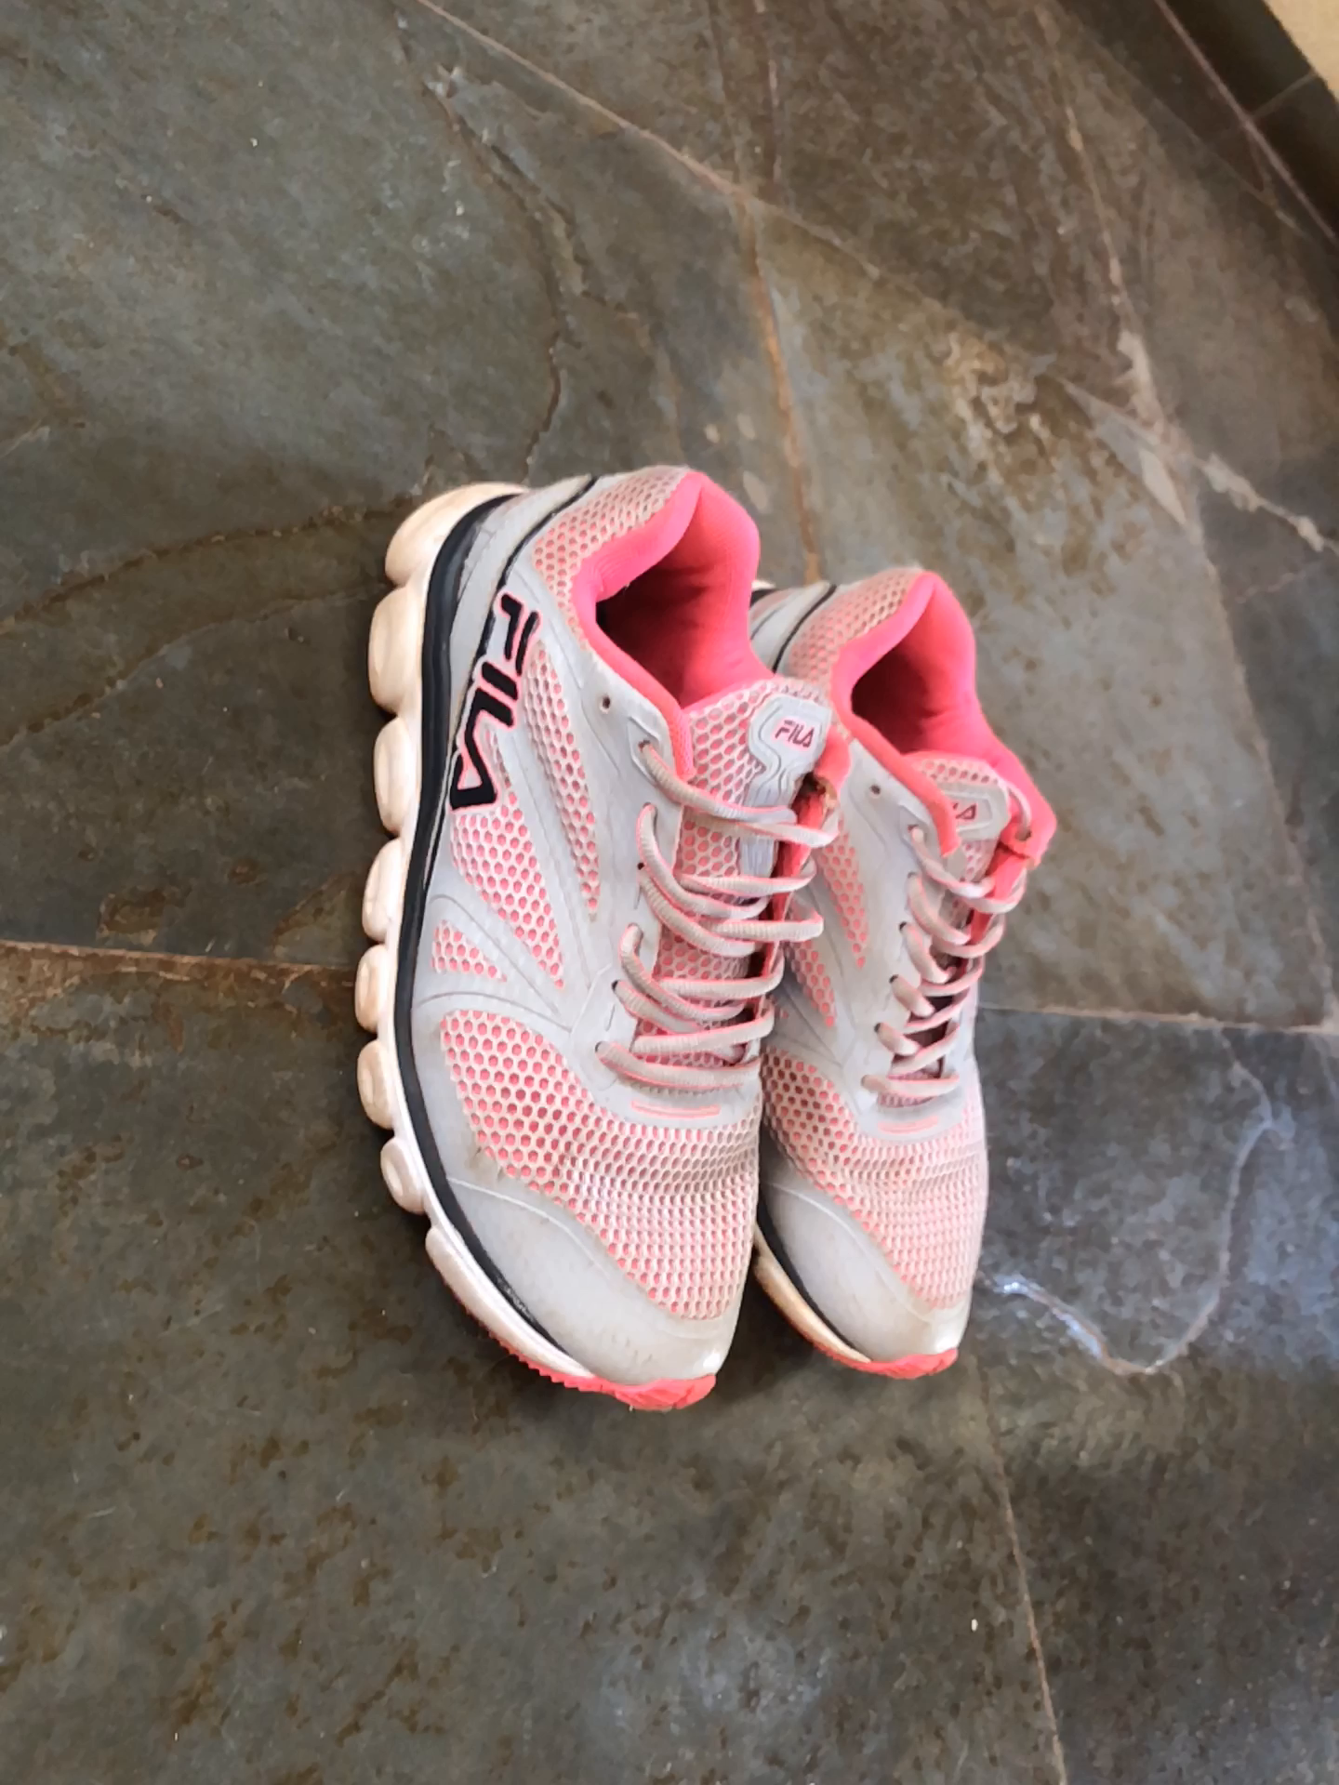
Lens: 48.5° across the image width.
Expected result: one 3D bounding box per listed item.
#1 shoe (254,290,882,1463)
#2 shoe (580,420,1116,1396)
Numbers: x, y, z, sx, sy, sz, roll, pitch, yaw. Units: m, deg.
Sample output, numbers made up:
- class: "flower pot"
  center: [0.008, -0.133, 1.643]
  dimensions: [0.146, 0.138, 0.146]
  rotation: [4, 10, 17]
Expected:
- class: "shoe"
  center: [-0.035, 0.000, 0.411]
  dimensions: [0.111, 0.099, 0.281]
  rotation: [8, 68, -43]
- class: "shoe"
  center: [0.052, 0.010, 0.497]
  dimensions: [0.111, 0.099, 0.291]
  rotation: [12, 66, -41]
